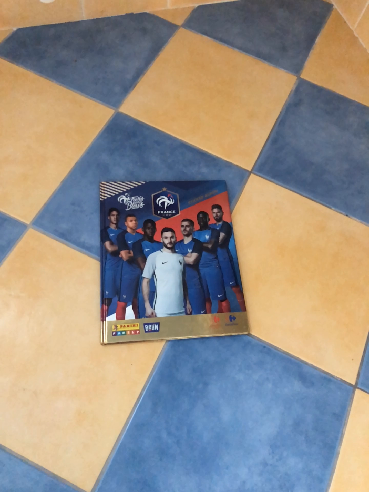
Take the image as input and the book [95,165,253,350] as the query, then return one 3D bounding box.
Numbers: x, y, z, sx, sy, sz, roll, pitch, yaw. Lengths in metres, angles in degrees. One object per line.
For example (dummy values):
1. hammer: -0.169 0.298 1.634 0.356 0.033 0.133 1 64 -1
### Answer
1. book: -0.029 0.004 0.694 0.240 0.030 0.321 -2 65 -8
